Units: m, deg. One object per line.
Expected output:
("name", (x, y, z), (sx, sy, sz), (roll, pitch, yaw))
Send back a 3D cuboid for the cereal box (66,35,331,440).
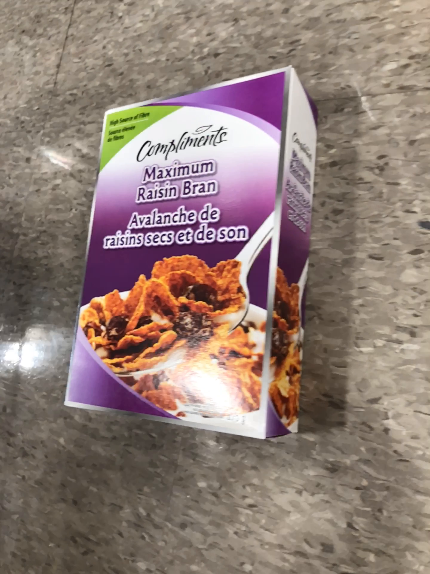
("cereal box", (-0.013, -0.040, 0.432), (0.201, 0.070, 0.310), (-1, 77, 31))
